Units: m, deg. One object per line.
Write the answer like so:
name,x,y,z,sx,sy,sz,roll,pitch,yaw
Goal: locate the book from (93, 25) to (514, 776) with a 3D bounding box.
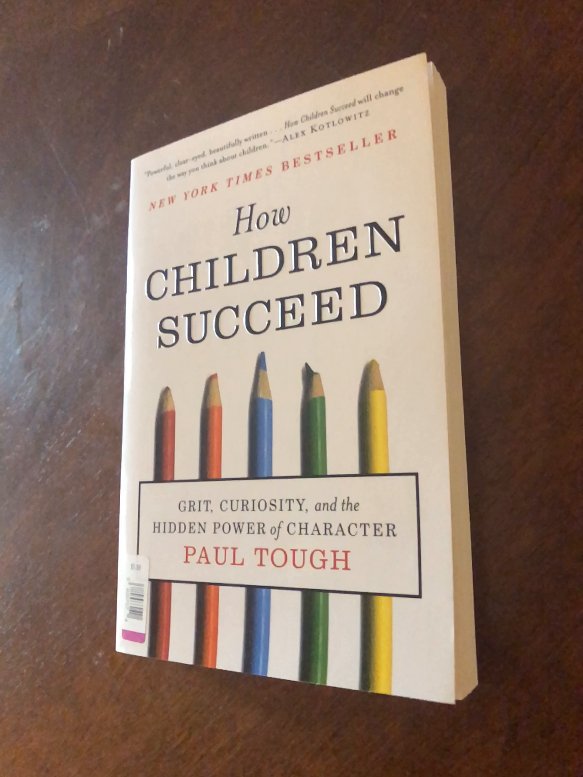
book,-0.005,0.002,0.227,0.140,0.030,0.210,-6,79,30
